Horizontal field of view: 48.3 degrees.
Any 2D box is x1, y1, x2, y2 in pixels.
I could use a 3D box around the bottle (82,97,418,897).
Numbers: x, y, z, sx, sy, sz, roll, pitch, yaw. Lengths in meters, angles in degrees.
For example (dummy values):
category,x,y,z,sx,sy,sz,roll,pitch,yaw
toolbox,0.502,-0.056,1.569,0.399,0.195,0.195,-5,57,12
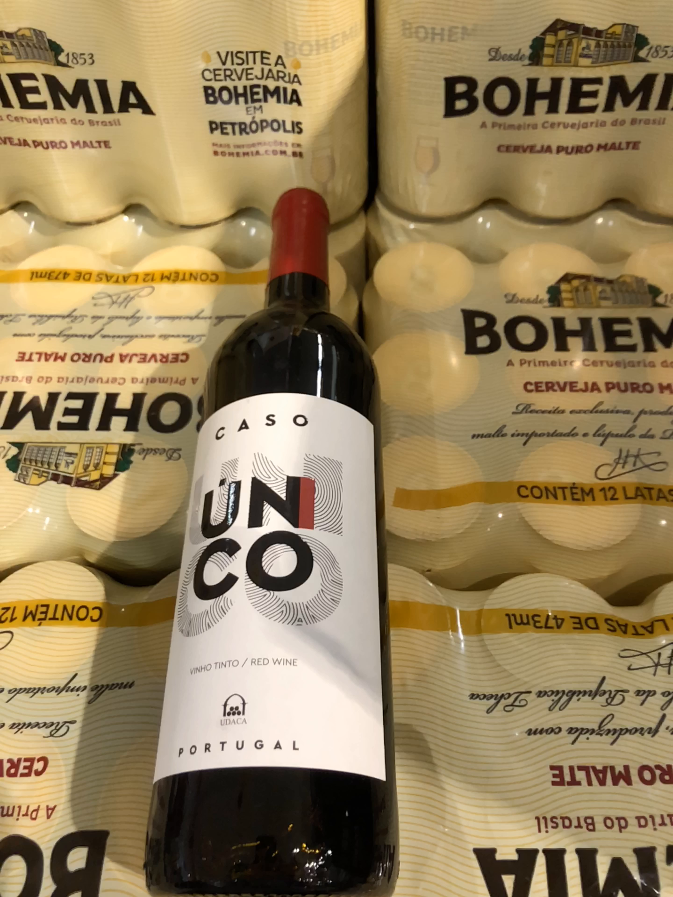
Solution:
category,x,y,z,sx,sy,sz,roll,pitch,yaw
bottle,-0.020,-0.009,0.298,0.080,0.070,0.332,-1,57,2
